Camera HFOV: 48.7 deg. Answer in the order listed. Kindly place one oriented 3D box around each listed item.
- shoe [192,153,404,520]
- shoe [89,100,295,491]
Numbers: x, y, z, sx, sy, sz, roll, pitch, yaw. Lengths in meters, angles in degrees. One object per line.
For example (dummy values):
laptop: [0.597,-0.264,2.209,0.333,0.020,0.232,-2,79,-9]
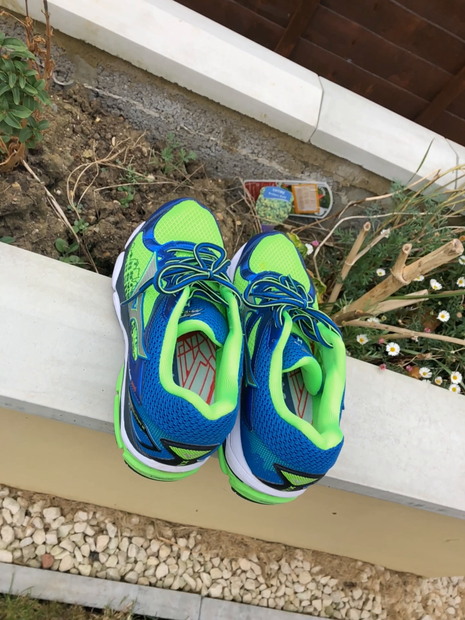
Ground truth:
shoe: [0.052,0.015,0.461,0.110,0.119,0.291,17,52,-17]
shoe: [-0.036,-0.014,0.429,0.110,0.119,0.291,11,58,-20]
